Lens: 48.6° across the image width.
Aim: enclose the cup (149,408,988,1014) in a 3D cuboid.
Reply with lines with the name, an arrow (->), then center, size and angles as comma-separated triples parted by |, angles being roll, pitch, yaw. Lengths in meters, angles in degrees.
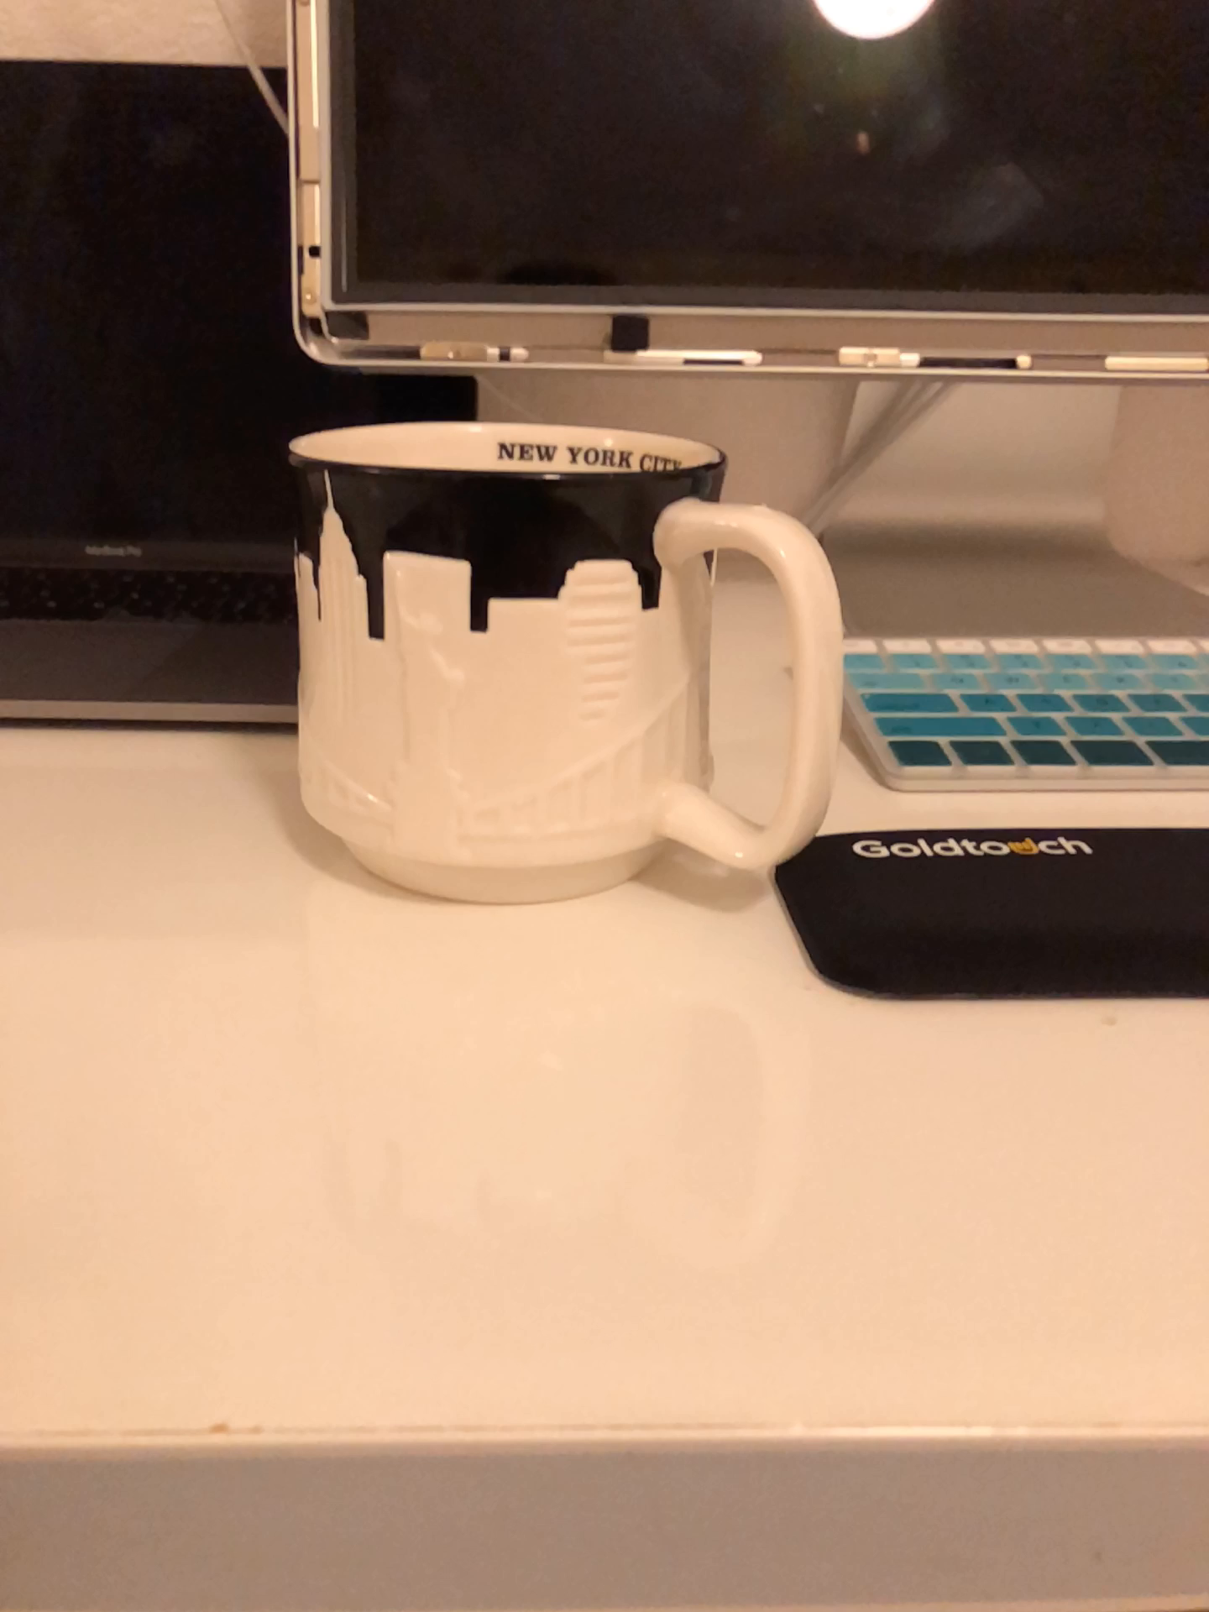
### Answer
cup -> -0.009, -0.037, 0.313 | 0.150, 0.090, 0.110 | 17, 26, 33
